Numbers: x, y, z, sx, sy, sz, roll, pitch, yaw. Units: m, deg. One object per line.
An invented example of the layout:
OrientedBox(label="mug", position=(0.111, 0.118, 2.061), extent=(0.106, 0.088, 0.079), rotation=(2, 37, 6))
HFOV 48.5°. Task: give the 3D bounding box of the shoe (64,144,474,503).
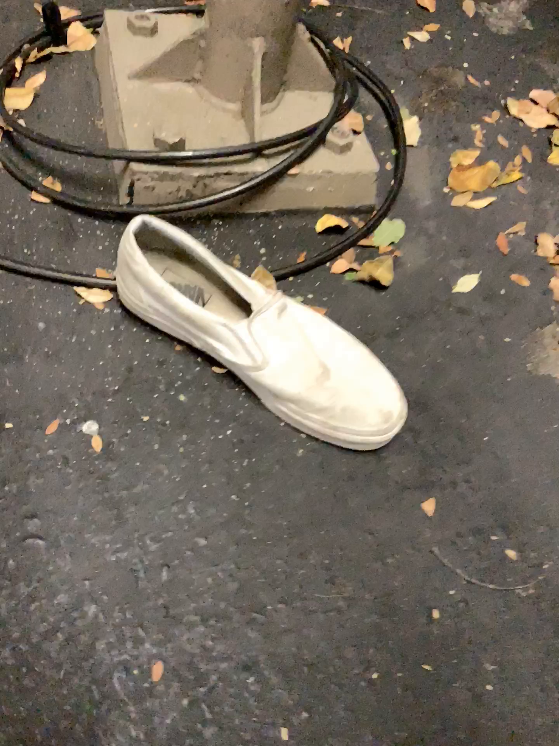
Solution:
OrientedBox(label="shoe", position=(-0.015, -0.045, 0.522), extent=(0.310, 0.100, 0.120), rotation=(35, 56, 8))
